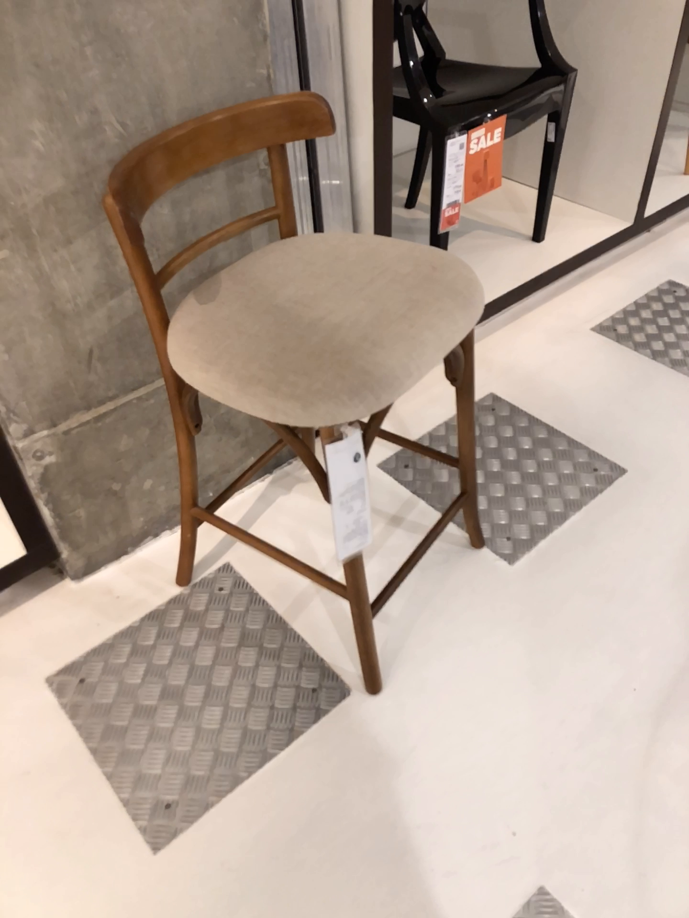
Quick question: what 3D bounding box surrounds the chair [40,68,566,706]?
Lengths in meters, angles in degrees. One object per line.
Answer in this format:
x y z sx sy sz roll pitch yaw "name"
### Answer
-0.024 -0.110 1.221 0.481 0.794 0.483 23 48 26 "chair"
